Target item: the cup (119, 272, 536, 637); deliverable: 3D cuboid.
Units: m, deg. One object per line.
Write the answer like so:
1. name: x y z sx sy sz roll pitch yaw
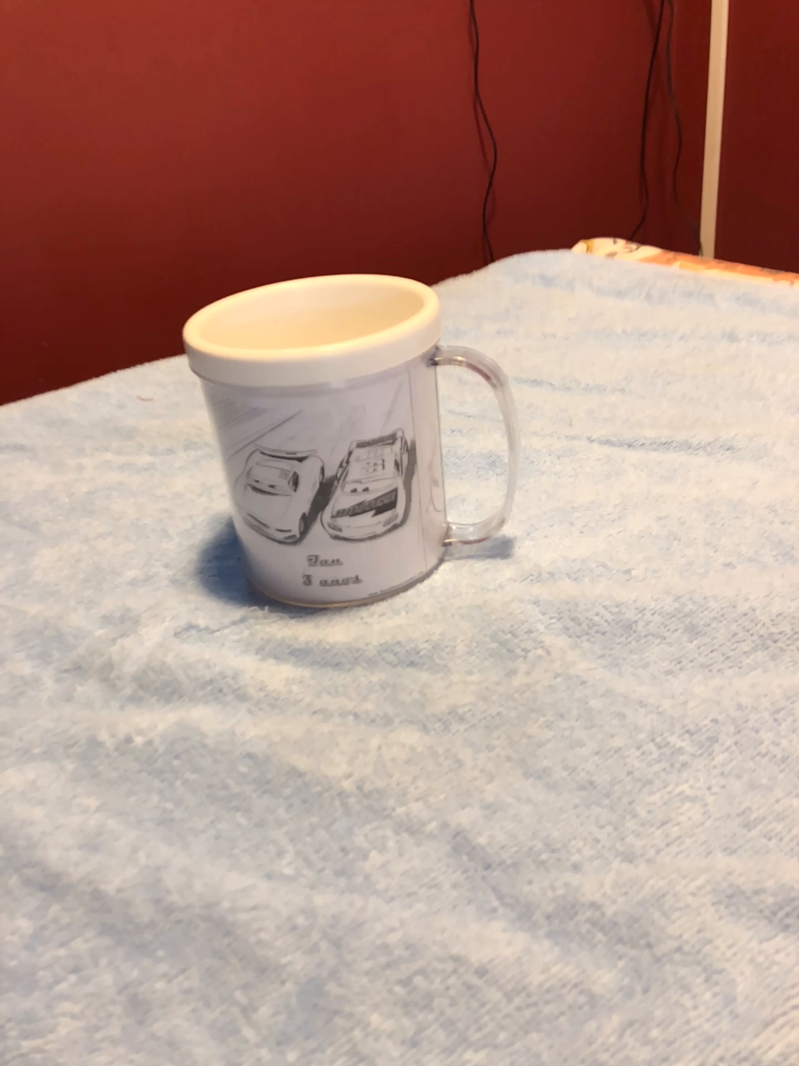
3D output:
1. cup: -0.016 -0.033 0.329 0.120 0.099 0.091 2 30 15
